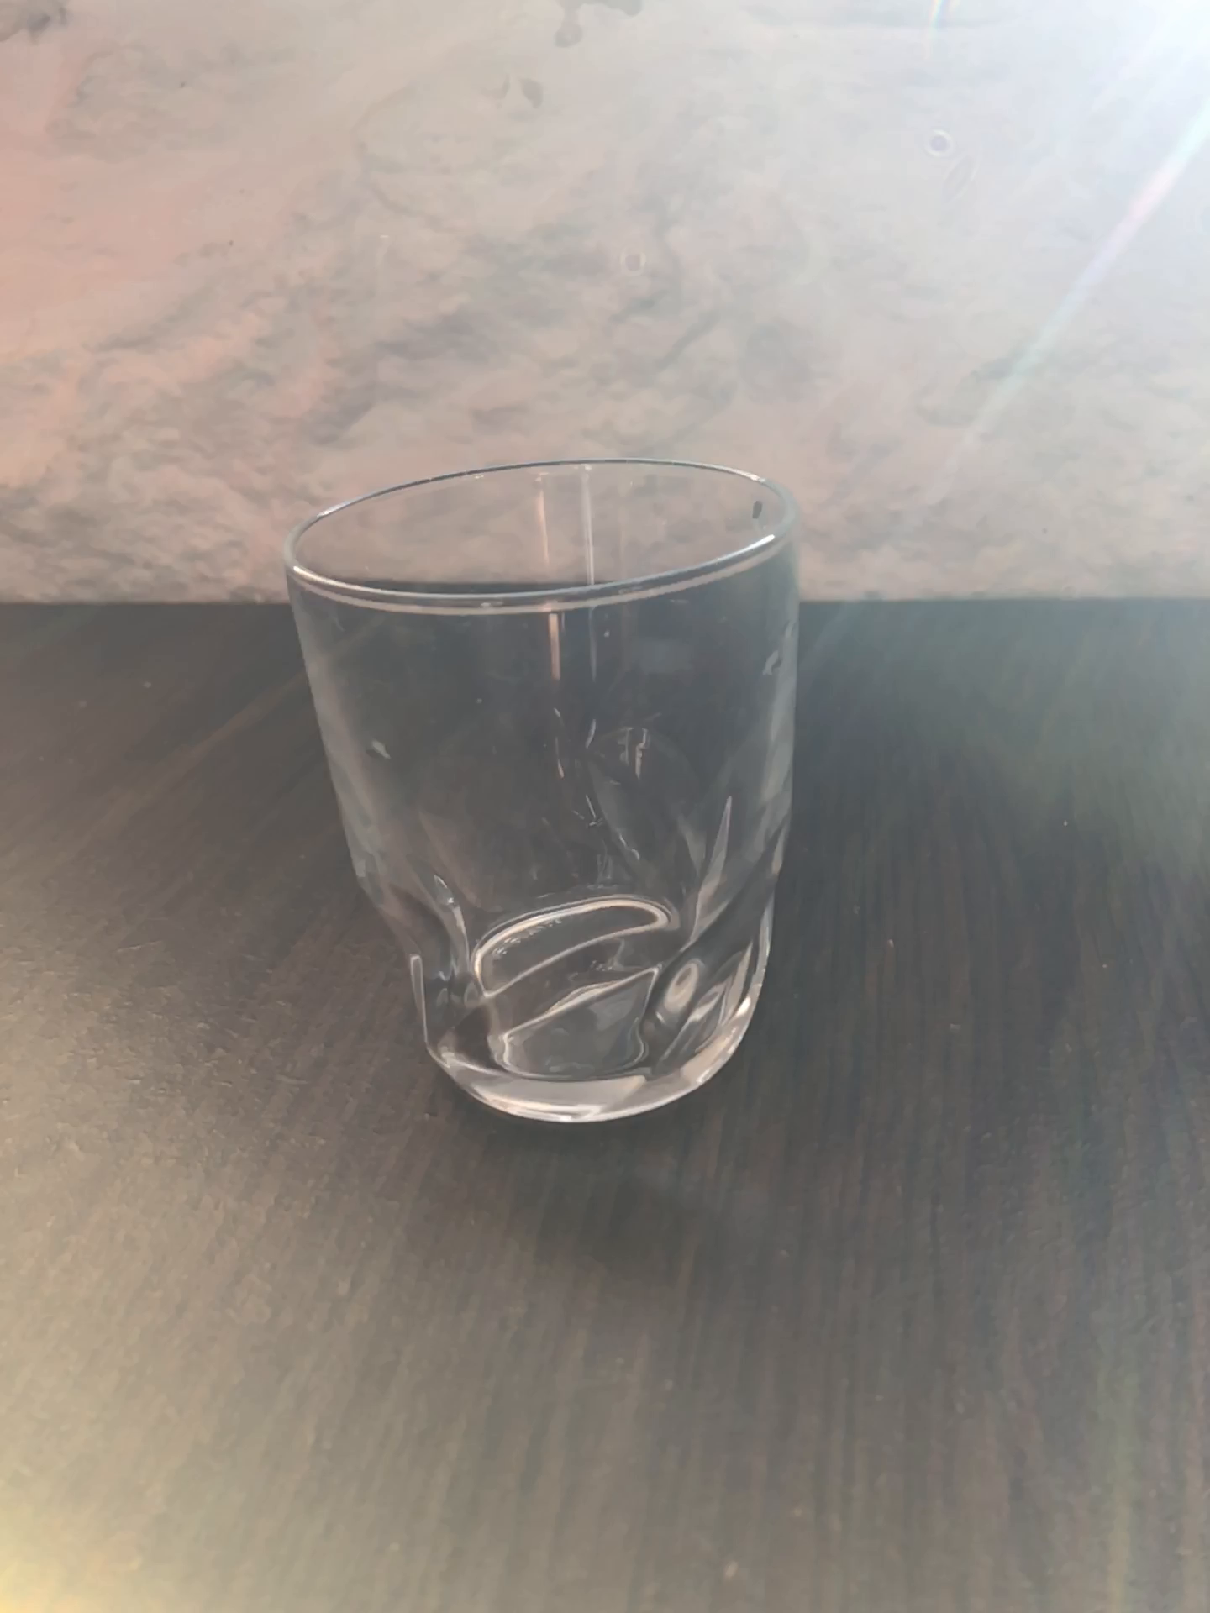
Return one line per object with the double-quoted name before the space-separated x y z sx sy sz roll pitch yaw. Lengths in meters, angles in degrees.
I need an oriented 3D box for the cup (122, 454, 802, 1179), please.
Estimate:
"cup" -0.012 -0.004 0.213 0.078 0.085 0.075 -3 26 2
